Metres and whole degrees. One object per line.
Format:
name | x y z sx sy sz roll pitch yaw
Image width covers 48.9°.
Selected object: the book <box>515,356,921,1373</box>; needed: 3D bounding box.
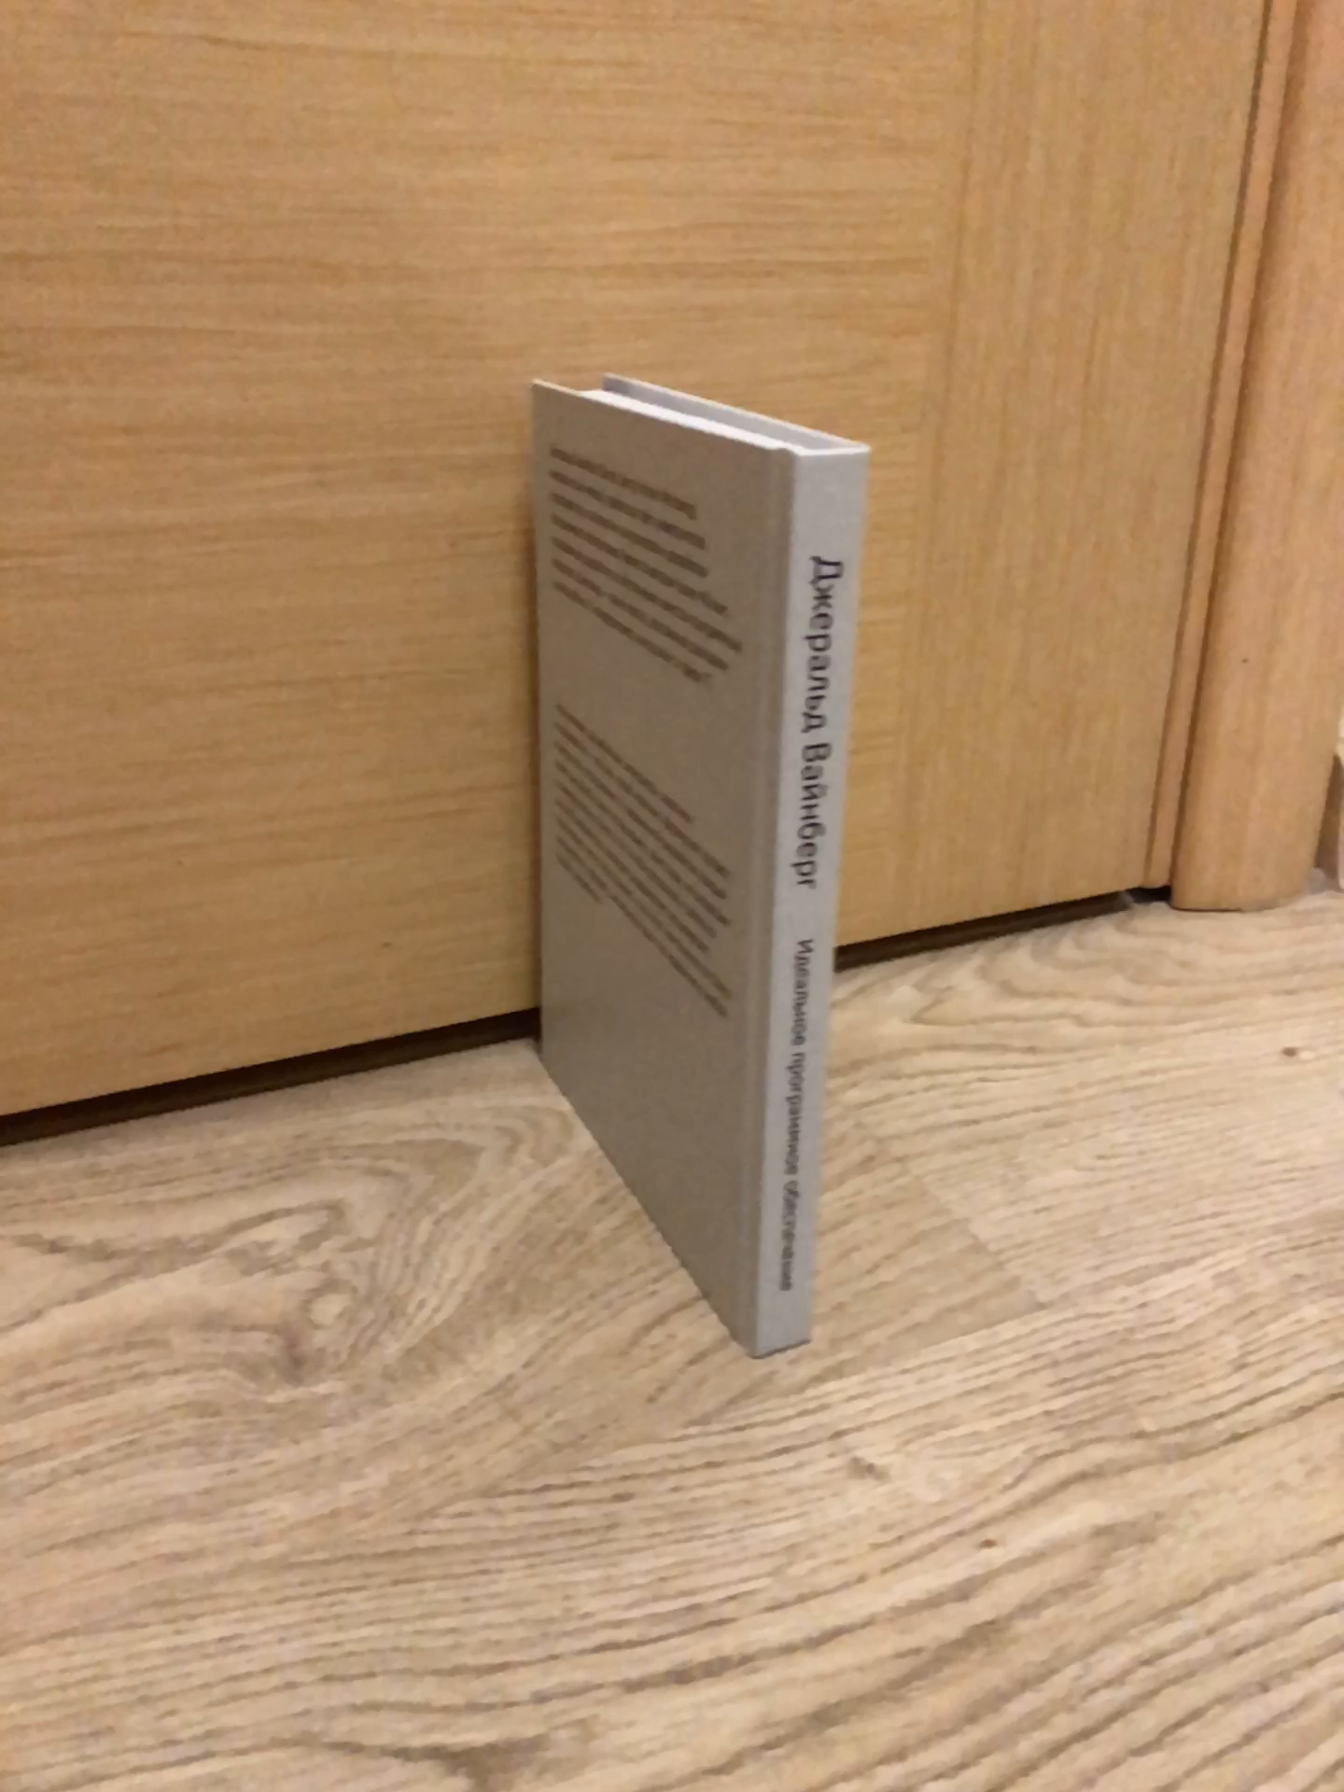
book | -0.001 -0.019 0.370 0.023 0.209 0.163 -9 25 -22
